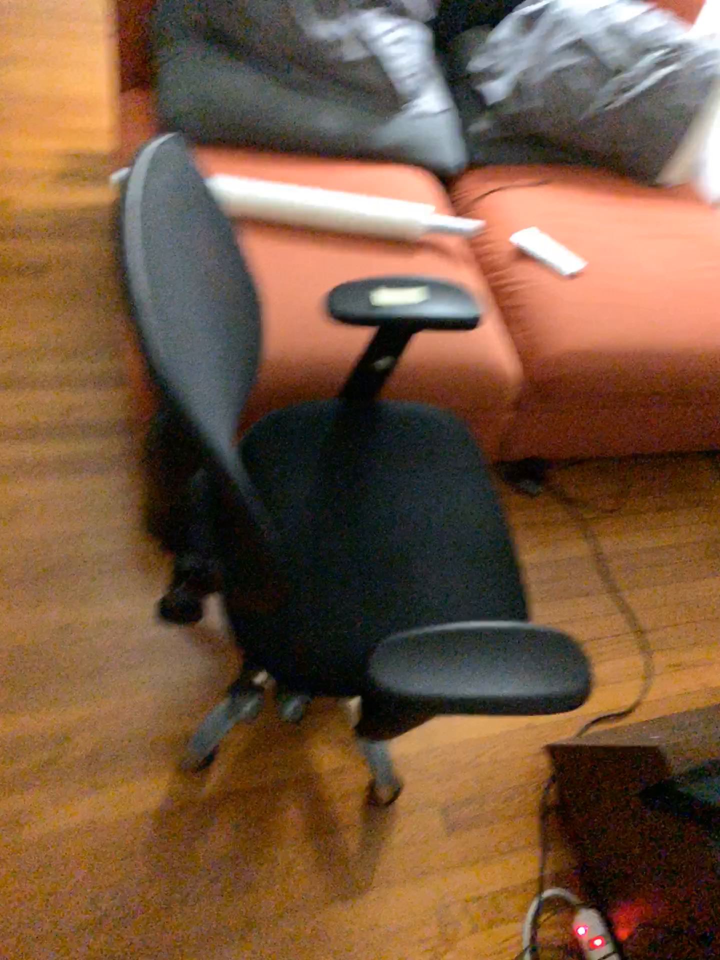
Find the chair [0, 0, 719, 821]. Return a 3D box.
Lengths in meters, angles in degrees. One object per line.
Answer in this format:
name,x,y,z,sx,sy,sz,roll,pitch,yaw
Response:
chair,-0.040,0.017,1.056,0.660,0.977,0.642,1,53,-9
